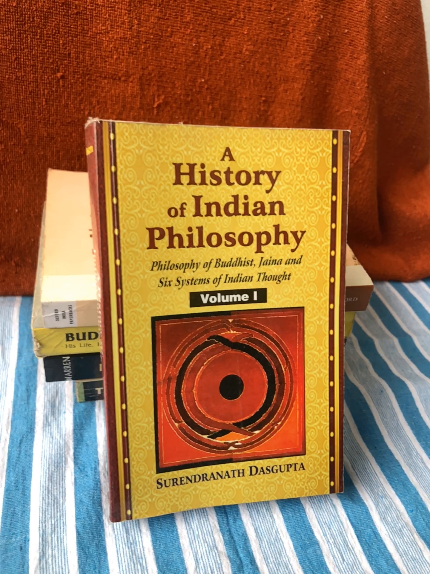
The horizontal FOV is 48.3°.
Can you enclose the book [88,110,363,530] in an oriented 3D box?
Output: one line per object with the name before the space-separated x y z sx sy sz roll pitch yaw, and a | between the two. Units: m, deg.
book | 0.007 0.016 0.279 0.141 0.216 0.048 -3 8 -11
